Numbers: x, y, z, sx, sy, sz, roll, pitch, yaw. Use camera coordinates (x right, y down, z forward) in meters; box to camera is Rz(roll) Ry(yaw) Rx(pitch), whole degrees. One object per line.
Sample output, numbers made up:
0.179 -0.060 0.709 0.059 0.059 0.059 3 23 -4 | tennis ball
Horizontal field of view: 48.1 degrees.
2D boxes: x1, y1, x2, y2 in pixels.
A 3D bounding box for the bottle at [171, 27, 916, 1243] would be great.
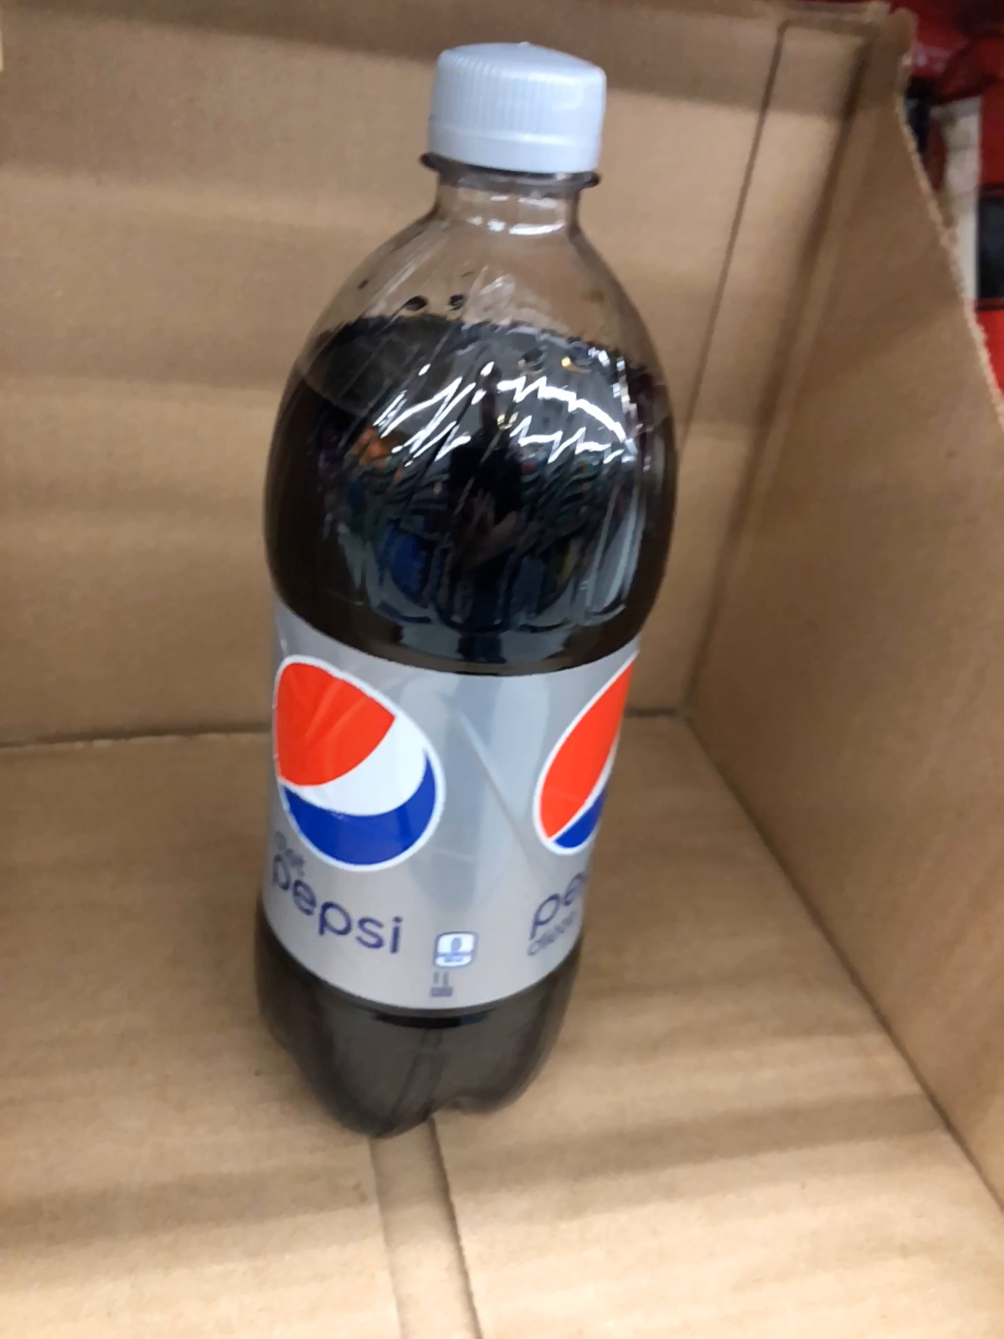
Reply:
-0.004 0.001 0.239 0.080 0.228 0.091 28 39 26 | bottle
